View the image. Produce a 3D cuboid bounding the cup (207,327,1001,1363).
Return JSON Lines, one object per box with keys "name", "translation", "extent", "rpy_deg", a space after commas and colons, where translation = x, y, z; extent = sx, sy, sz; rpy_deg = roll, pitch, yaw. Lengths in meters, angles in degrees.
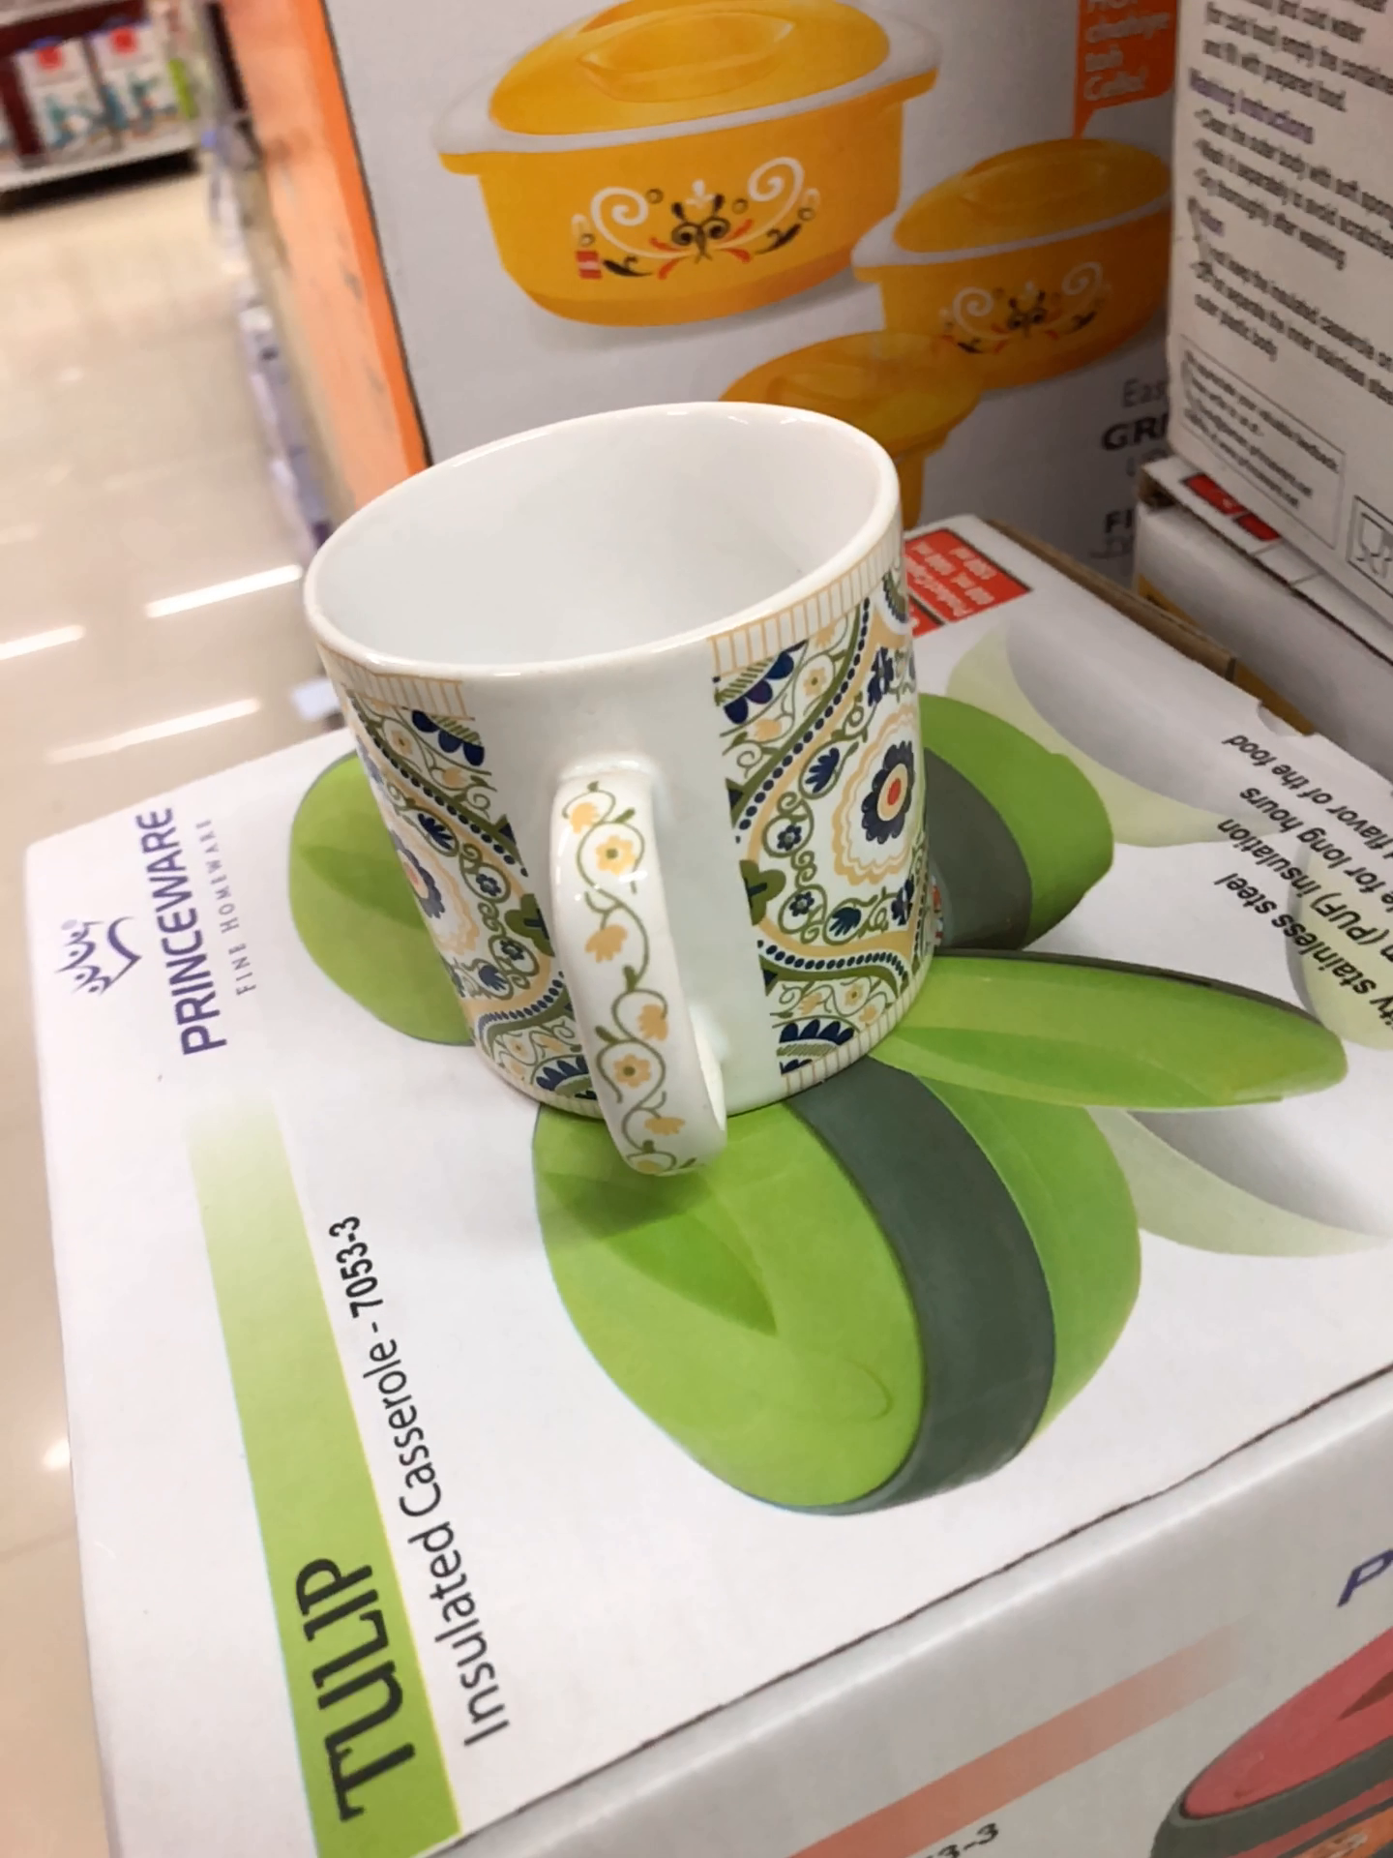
{"name": "cup", "translation": [-0.009, -0.018, 0.208], "extent": [0.070, 0.079, 0.111], "rpy_deg": [-10, 37, 1]}
